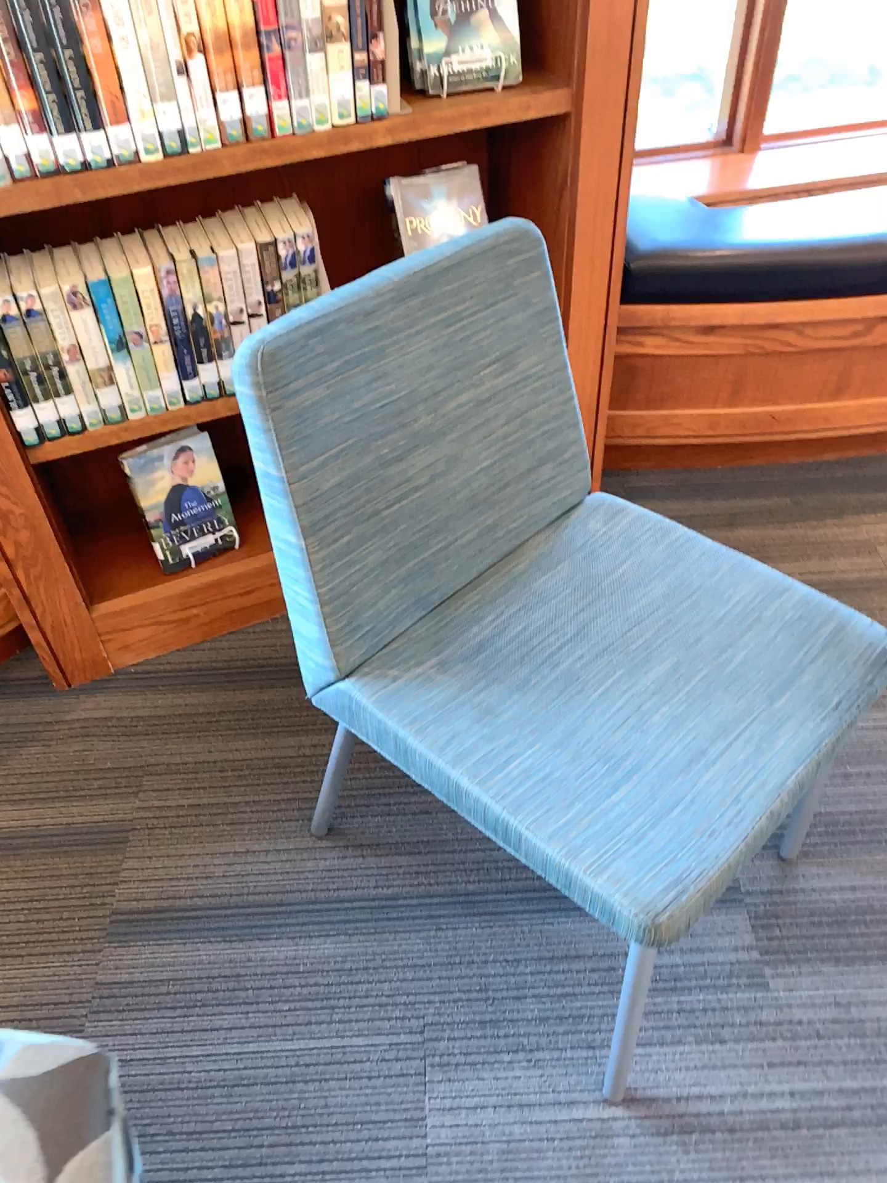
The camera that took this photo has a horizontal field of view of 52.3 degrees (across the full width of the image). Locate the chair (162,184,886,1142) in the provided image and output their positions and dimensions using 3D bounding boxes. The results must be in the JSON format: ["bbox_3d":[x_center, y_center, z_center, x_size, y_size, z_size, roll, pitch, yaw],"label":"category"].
[{"bbox_3d":[0.161,0.072,1.068,0.551,0.786,0.592,-35,52,-30],"label":"chair"}]
